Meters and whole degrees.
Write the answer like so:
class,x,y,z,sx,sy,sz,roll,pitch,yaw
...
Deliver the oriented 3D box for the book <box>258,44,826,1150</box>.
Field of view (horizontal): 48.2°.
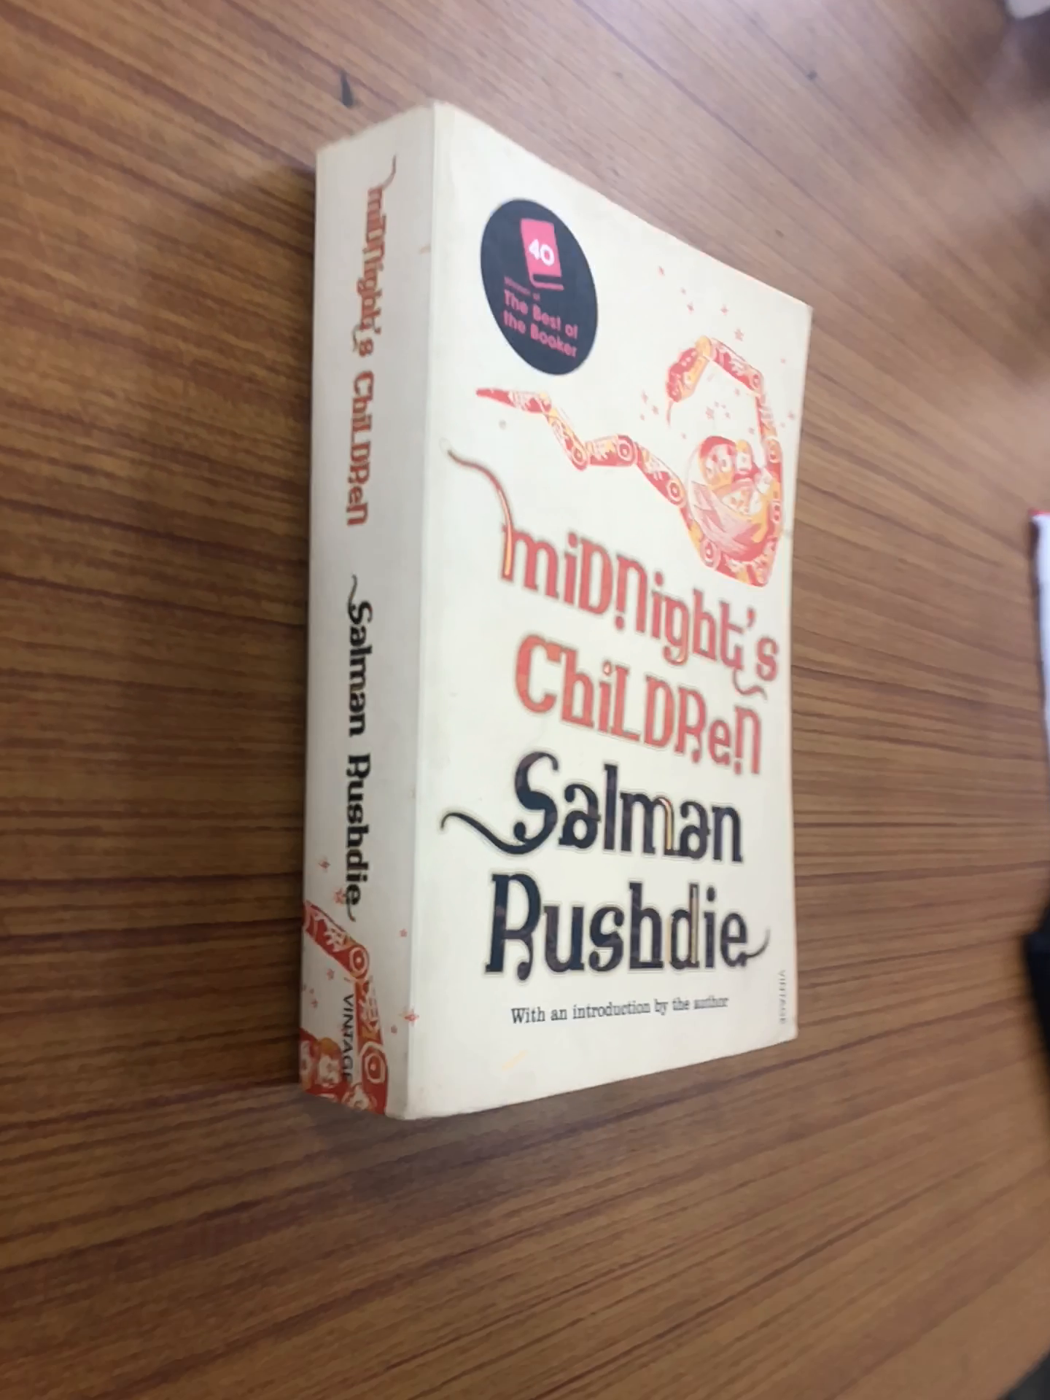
class,x,y,z,sx,sy,sz,roll,pitch,yaw
book,0.013,-0.016,0.272,0.141,0.040,0.200,6,82,-44
